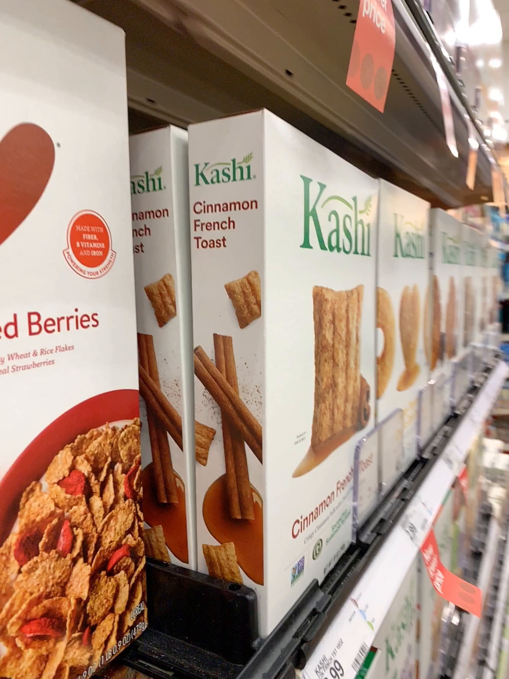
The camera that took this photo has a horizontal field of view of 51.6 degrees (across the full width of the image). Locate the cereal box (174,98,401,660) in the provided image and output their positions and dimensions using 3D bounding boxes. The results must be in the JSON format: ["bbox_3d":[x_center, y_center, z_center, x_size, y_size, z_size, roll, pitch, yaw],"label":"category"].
[{"bbox_3d":[0.041,0.013,0.355,0.060,0.270,0.210,2,7,30],"label":"cereal box"}]
